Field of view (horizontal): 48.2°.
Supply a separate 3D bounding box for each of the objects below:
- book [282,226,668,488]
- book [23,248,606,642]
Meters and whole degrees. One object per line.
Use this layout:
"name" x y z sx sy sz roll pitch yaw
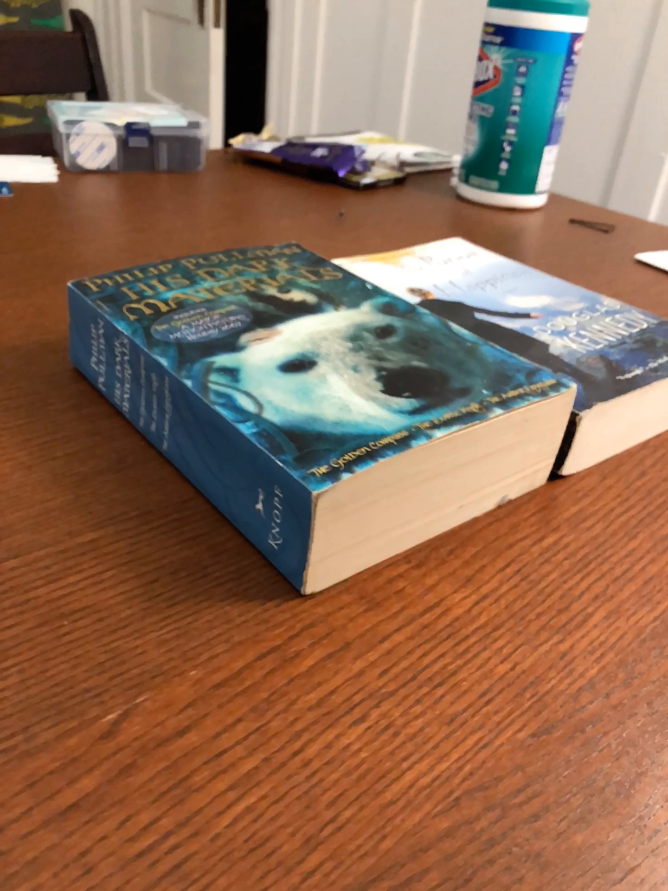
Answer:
"book" 0.113 -0.078 0.479 0.181 0.040 0.251 -19 39 -35
"book" -0.023 -0.031 0.389 0.181 0.050 0.251 -19 39 -35
